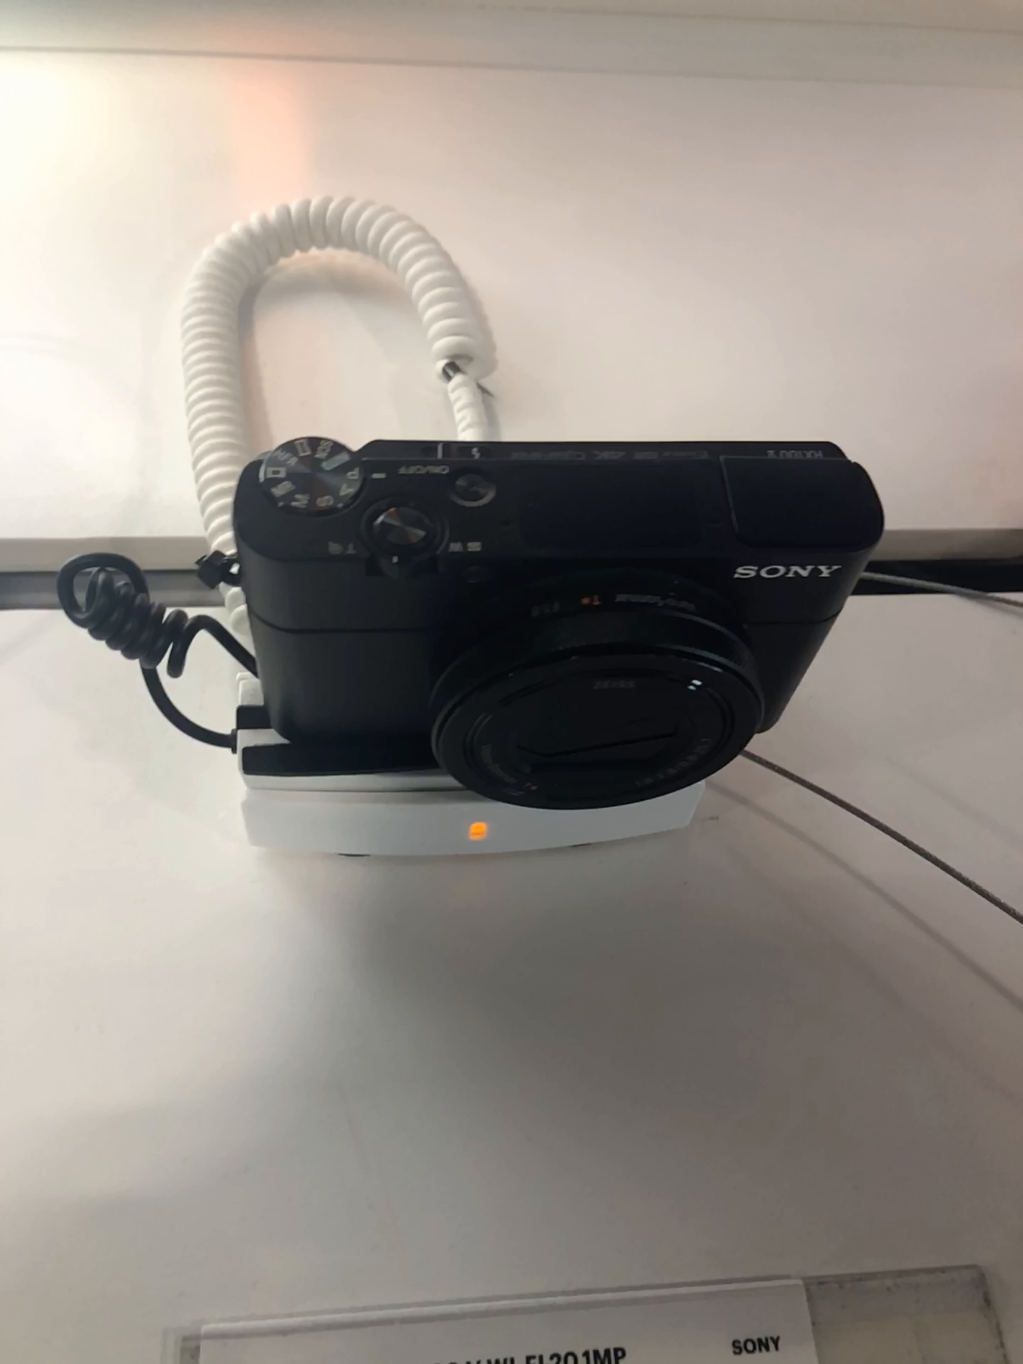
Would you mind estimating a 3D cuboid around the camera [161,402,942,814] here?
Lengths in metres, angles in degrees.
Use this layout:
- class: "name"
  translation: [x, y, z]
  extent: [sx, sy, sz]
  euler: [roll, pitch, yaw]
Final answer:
- class: "camera"
  translation: [0.003, -0.009, 0.181]
  extent: [0.101, 0.063, 0.032]
  euler: [-1, 57, -6]
